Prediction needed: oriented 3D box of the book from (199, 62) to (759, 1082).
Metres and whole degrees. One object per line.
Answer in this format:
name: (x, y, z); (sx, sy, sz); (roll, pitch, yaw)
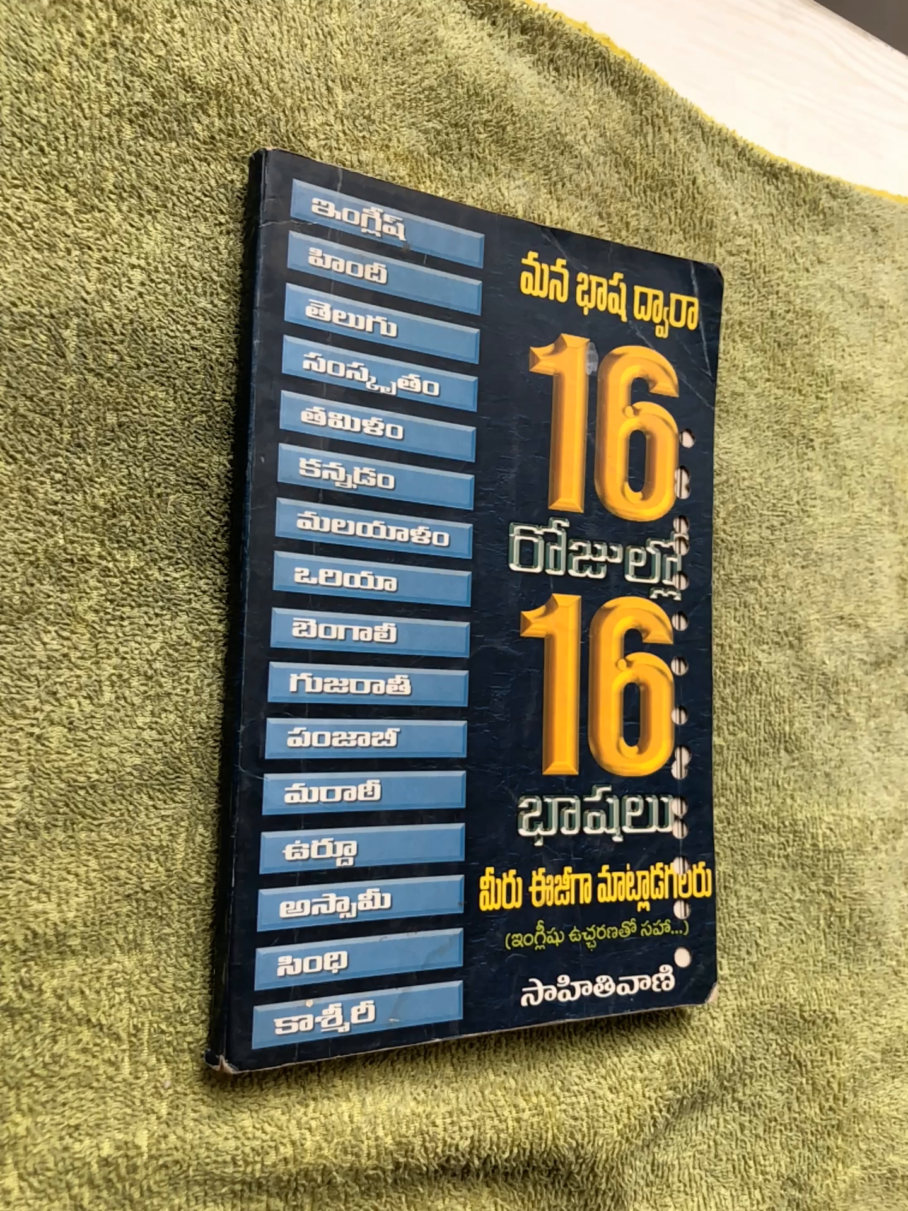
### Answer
book: (0.014, -0.006, 0.262); (0.140, 0.030, 0.220); (5, 84, -26)
